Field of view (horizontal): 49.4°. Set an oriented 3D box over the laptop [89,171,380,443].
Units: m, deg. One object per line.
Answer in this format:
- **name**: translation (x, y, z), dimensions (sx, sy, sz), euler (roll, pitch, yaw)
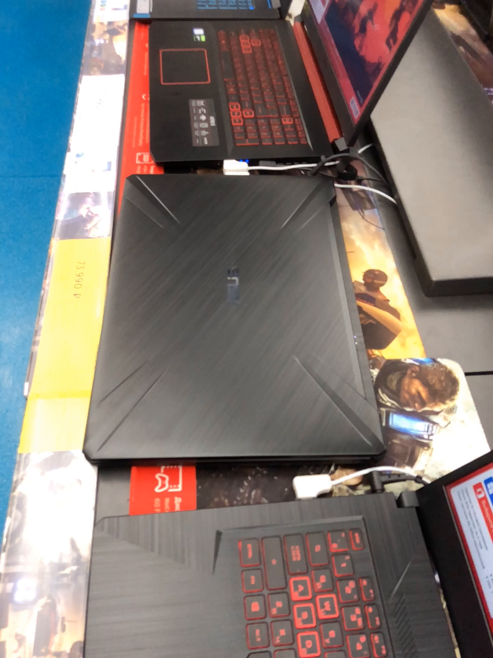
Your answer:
- **laptop**: translation (-0.011, -0.053, 0.596), dimensions (0.261, 0.001, 0.387), euler (1, 53, -3)
